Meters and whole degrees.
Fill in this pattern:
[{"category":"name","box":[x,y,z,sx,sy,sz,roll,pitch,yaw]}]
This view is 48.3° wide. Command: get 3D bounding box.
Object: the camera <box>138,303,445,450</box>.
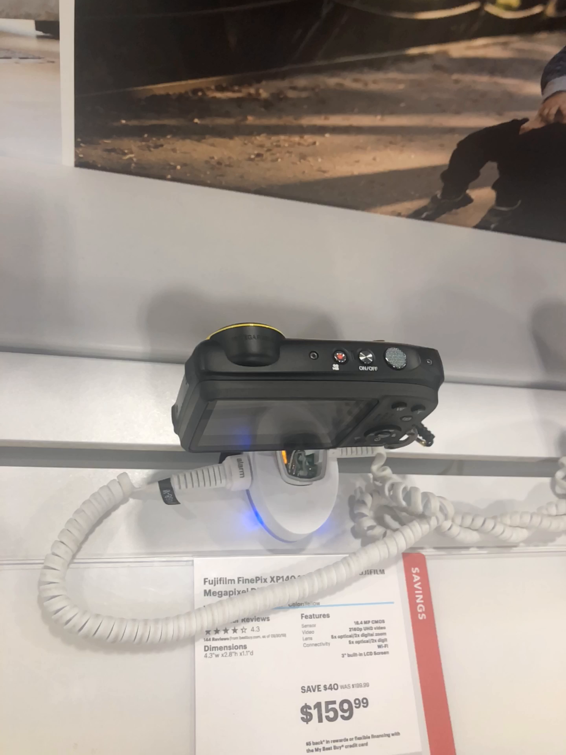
[{"category":"camera","box":[-0.001,0.003,0.264,0.110,0.070,0.030,1,64,-18]}]
